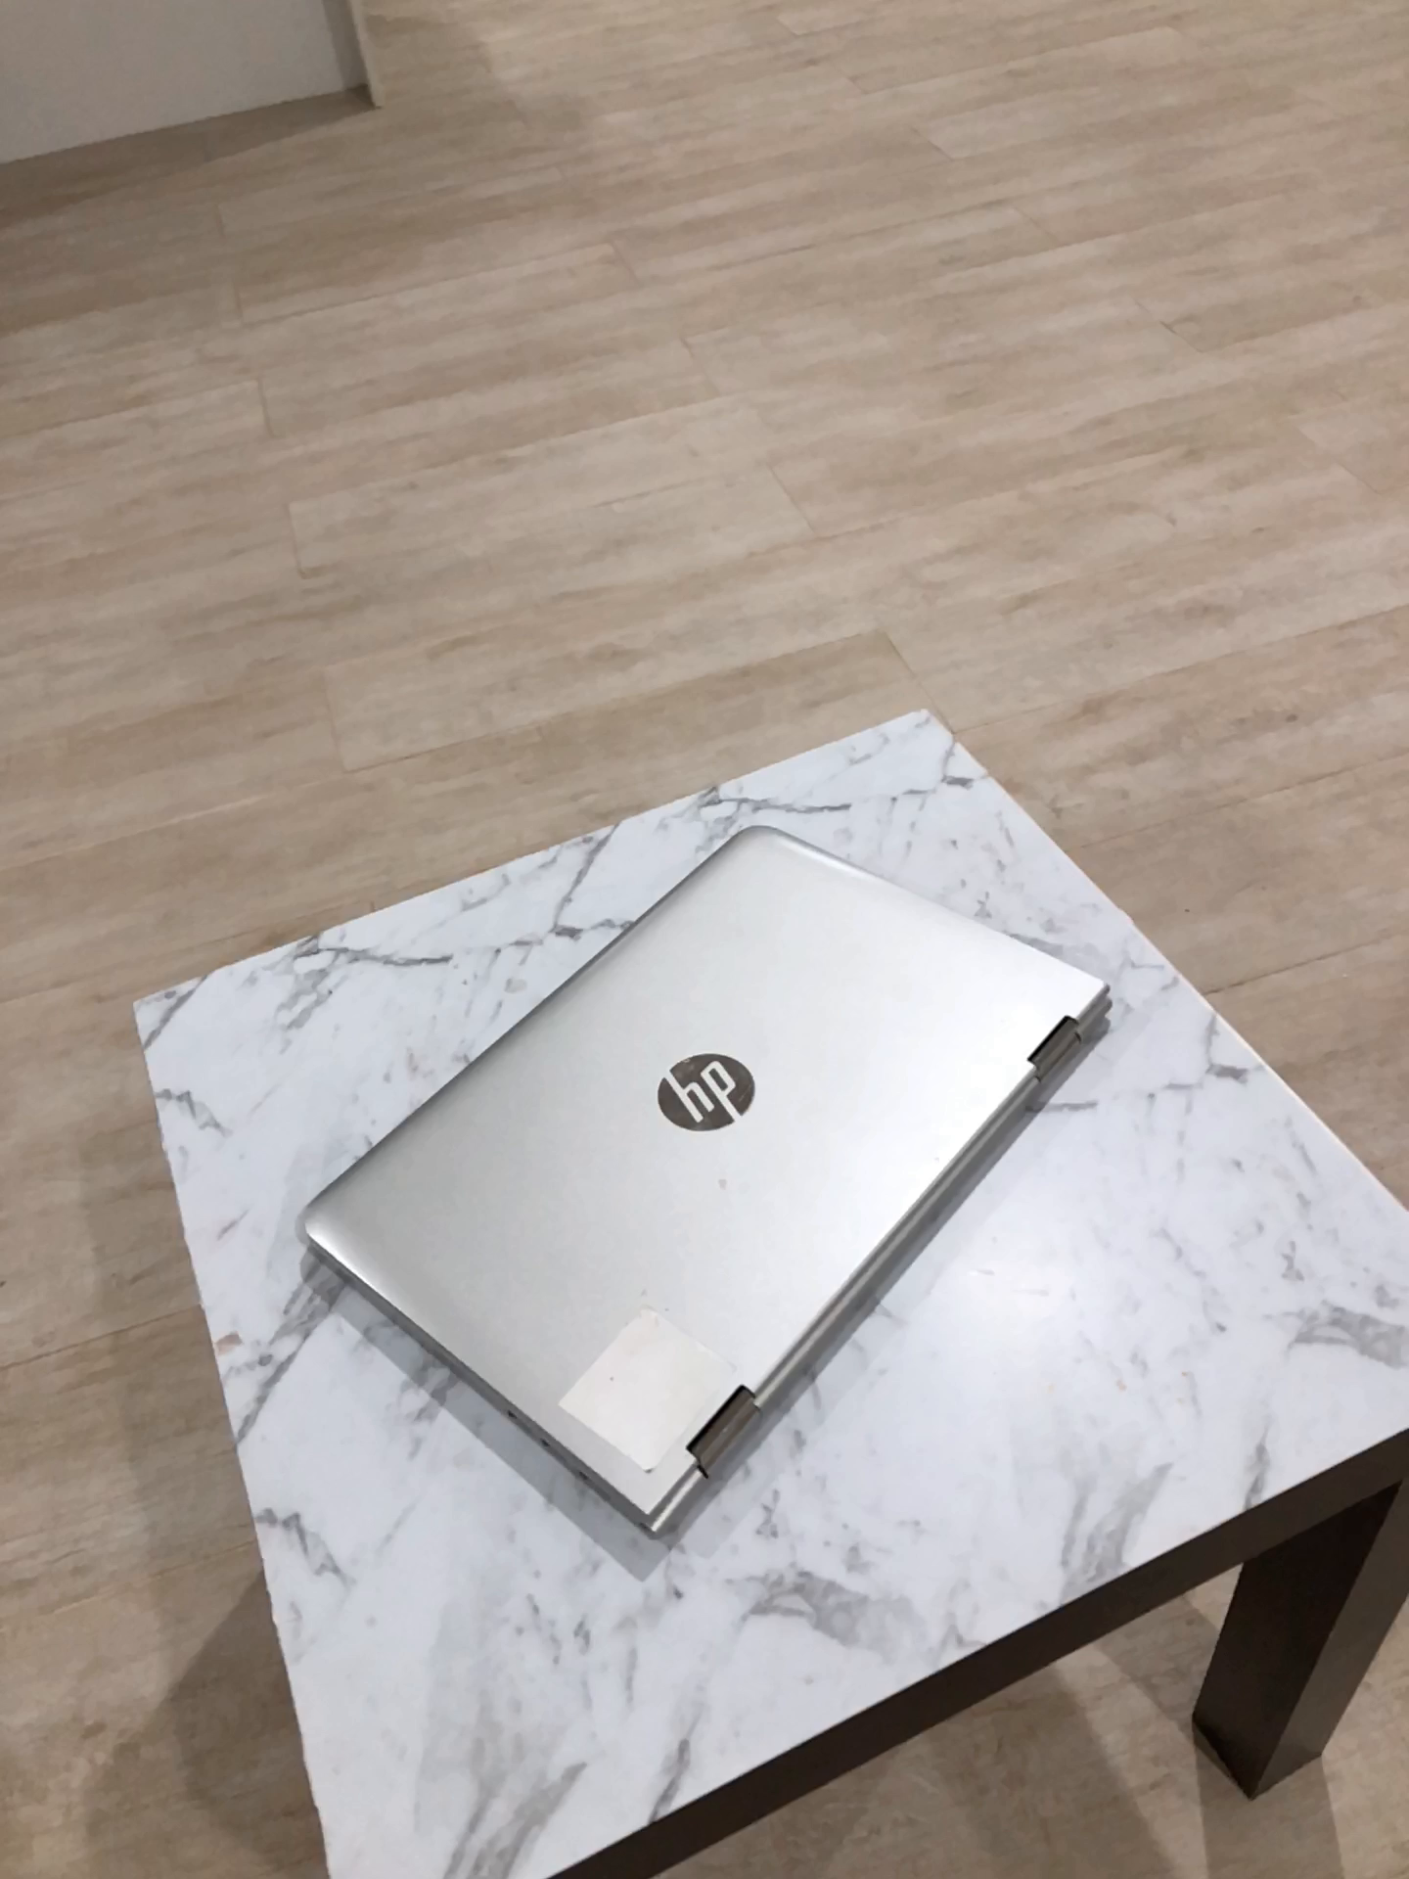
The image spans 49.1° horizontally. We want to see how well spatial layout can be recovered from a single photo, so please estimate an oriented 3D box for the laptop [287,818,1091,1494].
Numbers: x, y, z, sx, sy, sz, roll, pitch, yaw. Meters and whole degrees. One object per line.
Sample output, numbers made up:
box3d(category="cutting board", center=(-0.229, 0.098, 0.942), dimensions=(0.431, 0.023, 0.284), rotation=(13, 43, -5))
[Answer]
box3d(category="laptop", center=(-0.001, 0.064, 0.650), dimensions=(0.197, 0.001, 0.293), rotation=(28, 55, 31))
